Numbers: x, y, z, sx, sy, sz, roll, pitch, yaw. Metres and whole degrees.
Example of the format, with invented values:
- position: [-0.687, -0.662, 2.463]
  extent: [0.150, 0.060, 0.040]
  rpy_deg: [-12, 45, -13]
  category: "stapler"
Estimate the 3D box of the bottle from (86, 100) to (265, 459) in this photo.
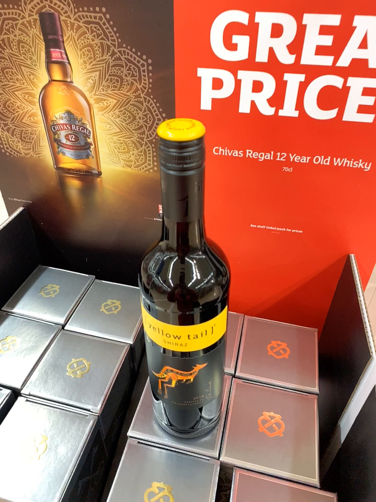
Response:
- position: [-0.002, 0.050, 0.313]
  extent: [0.086, 0.307, 0.082]
  rpy_deg: [0, 39, 0]
  category: "bottle"
